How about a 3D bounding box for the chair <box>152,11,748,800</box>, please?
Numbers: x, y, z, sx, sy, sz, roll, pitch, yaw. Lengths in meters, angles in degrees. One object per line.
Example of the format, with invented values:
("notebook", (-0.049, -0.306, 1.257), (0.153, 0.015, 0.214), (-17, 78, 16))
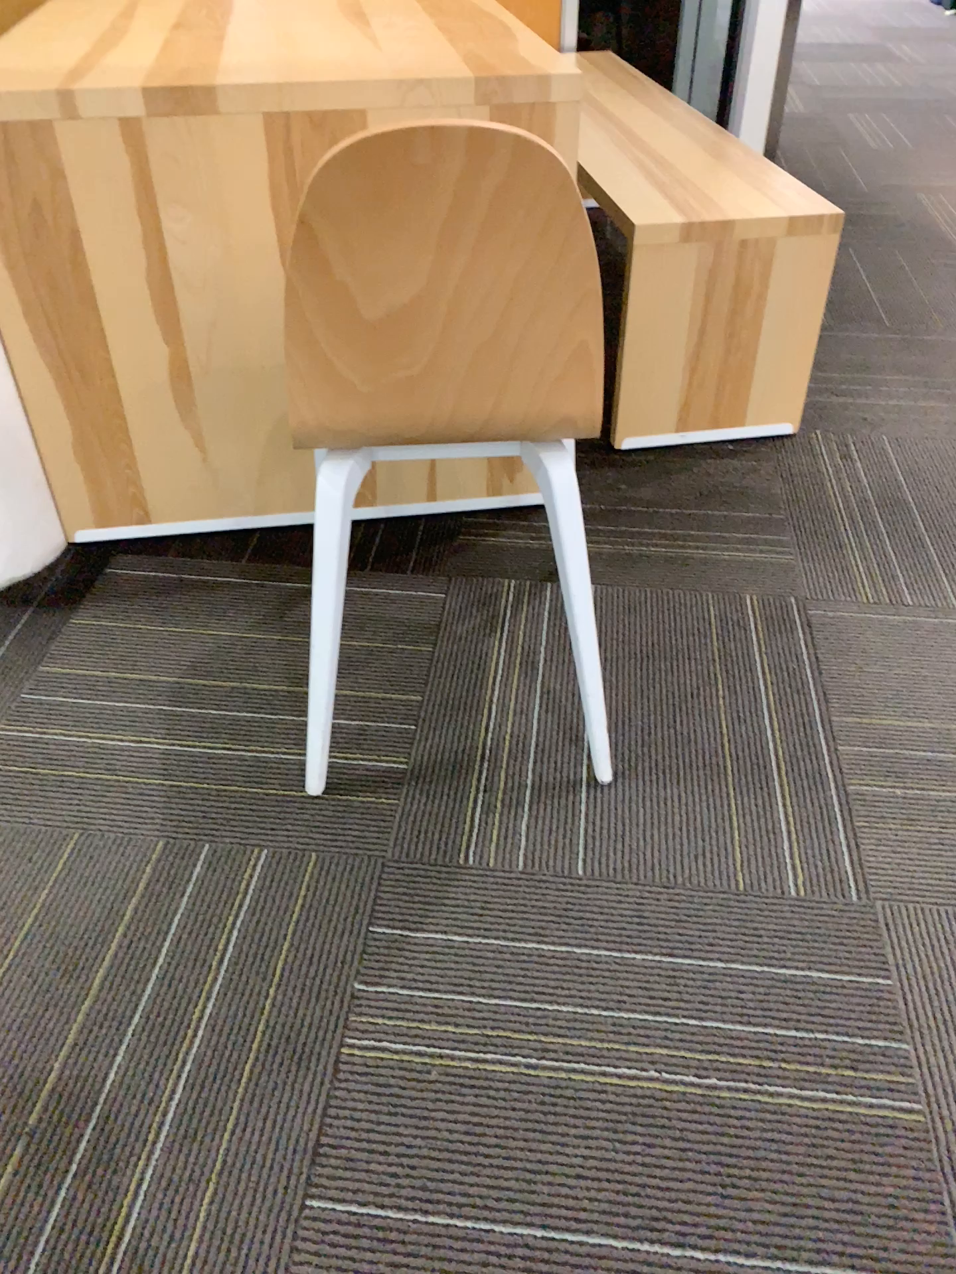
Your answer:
("chair", (-0.036, -0.291, 1.265), (0.480, 0.805, 0.584), (-3, 40, -3))
